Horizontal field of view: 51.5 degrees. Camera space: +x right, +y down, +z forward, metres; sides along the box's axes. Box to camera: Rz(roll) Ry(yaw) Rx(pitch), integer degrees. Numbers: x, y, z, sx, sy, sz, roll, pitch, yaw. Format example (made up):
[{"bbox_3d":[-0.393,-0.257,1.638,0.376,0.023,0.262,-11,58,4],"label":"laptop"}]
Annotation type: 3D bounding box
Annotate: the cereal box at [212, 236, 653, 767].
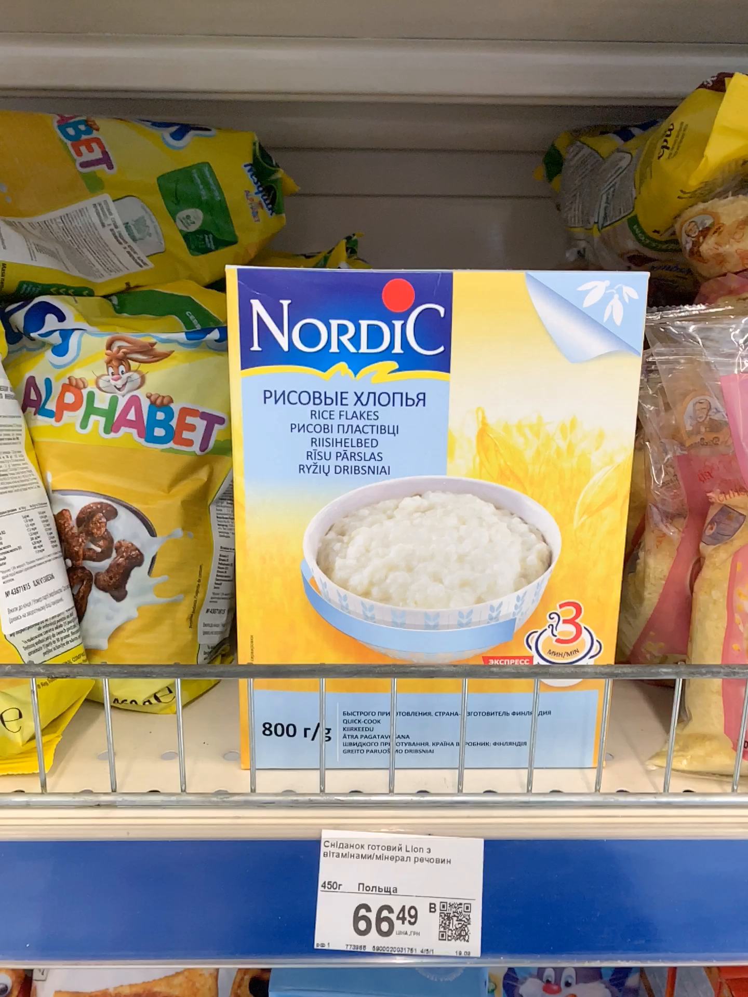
[{"bbox_3d":[0.019,-0.001,0.324,0.150,0.199,0.080,0,13,-1],"label":"cereal box"}]
